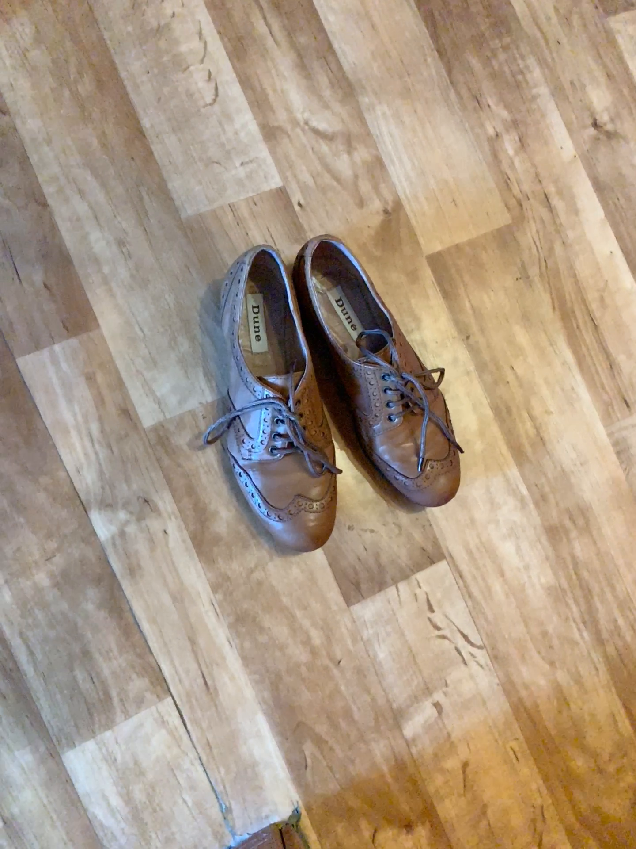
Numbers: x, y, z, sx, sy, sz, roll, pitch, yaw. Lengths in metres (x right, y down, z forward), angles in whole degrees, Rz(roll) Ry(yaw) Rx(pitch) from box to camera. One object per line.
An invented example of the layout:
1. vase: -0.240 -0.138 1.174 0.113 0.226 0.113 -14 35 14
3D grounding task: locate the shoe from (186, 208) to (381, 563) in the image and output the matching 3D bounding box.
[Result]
1. shoe: -0.035 -0.026 0.518 0.090 0.120 0.240 -11 86 -12

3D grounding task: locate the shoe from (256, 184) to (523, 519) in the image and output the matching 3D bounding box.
1. shoe: 0.047 -0.047 0.521 0.080 0.120 0.230 -29 90 -12
